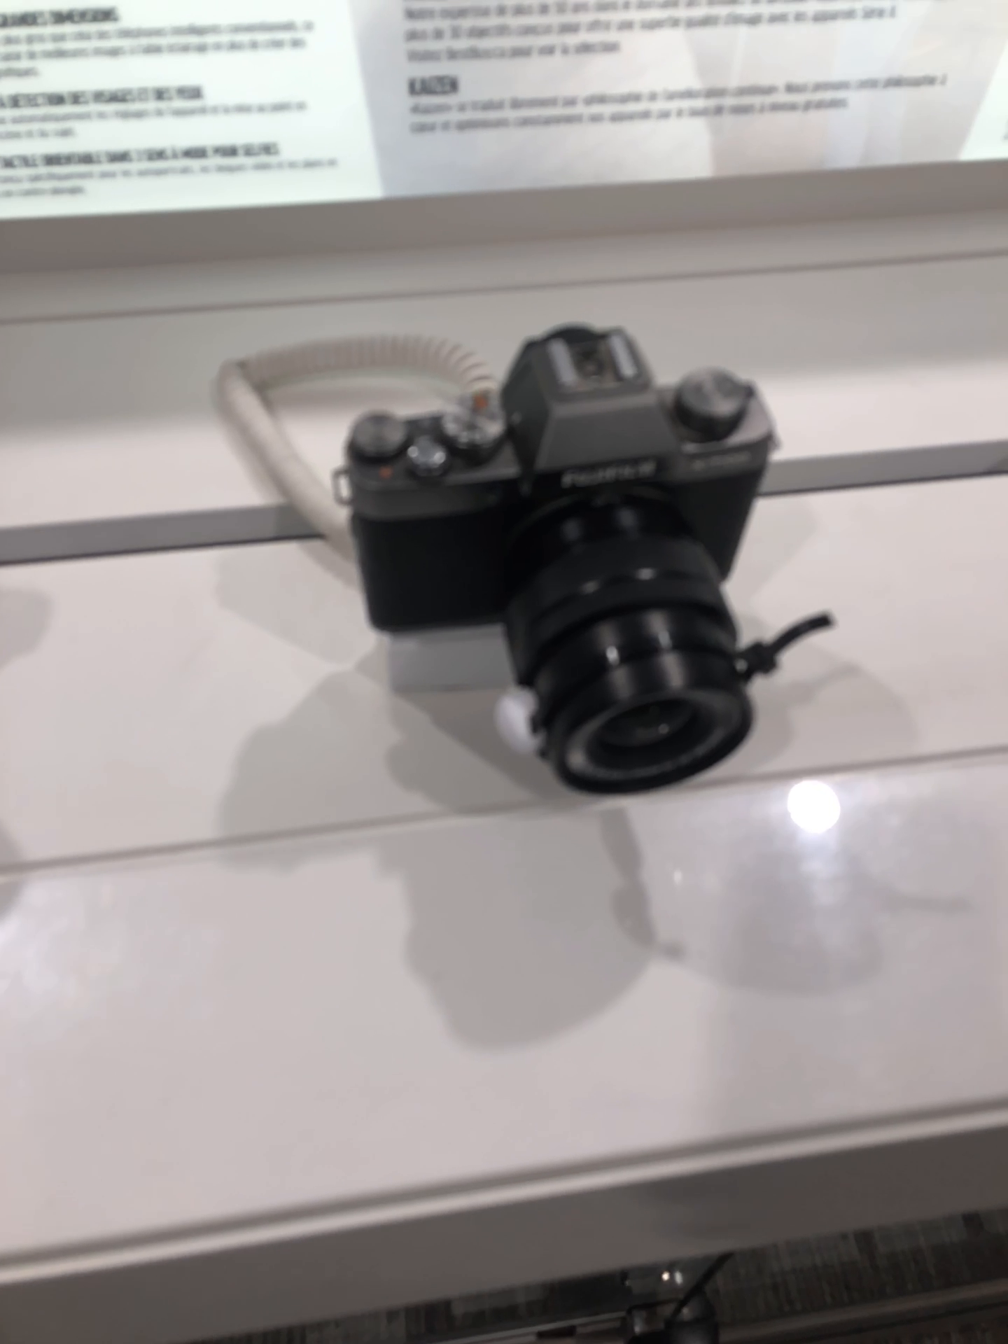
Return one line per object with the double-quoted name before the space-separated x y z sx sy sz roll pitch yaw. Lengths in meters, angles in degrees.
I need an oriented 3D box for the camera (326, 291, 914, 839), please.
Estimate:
"camera" 0.022 -0.031 0.317 0.130 0.099 0.108 -7 52 -6
